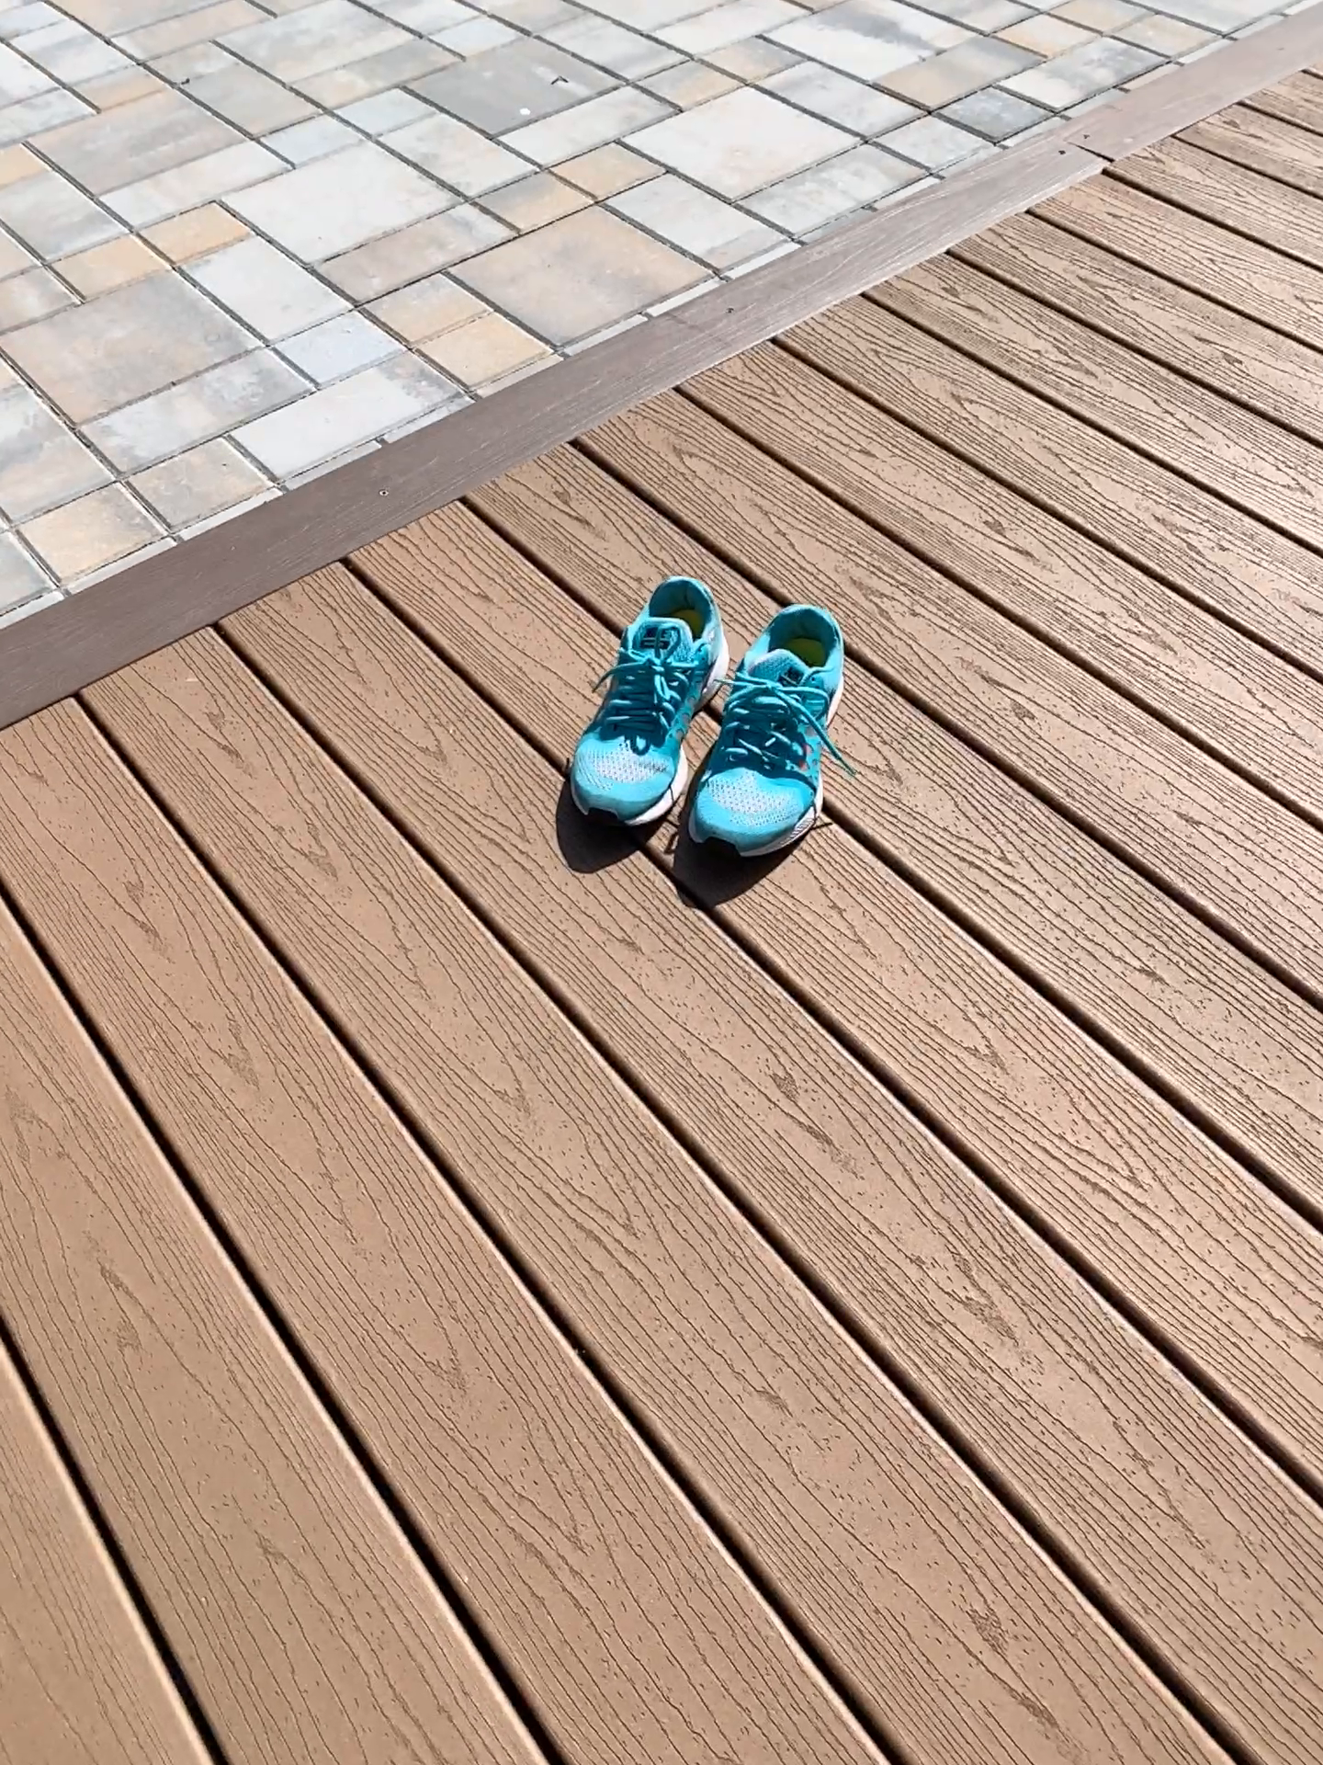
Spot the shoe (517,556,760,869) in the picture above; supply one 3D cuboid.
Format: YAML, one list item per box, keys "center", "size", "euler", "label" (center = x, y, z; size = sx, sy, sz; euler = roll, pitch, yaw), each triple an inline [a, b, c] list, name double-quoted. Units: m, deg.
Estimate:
- center: [-0.012, -0.147, 1.122]
  size: [0.110, 0.080, 0.261]
  euler: [15, 55, 14]
  label: "shoe"

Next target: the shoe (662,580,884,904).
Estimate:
- center: [0.094, -0.120, 1.087]
  size: [0.110, 0.080, 0.261]
  euler: [13, 55, 12]
  label: "shoe"
